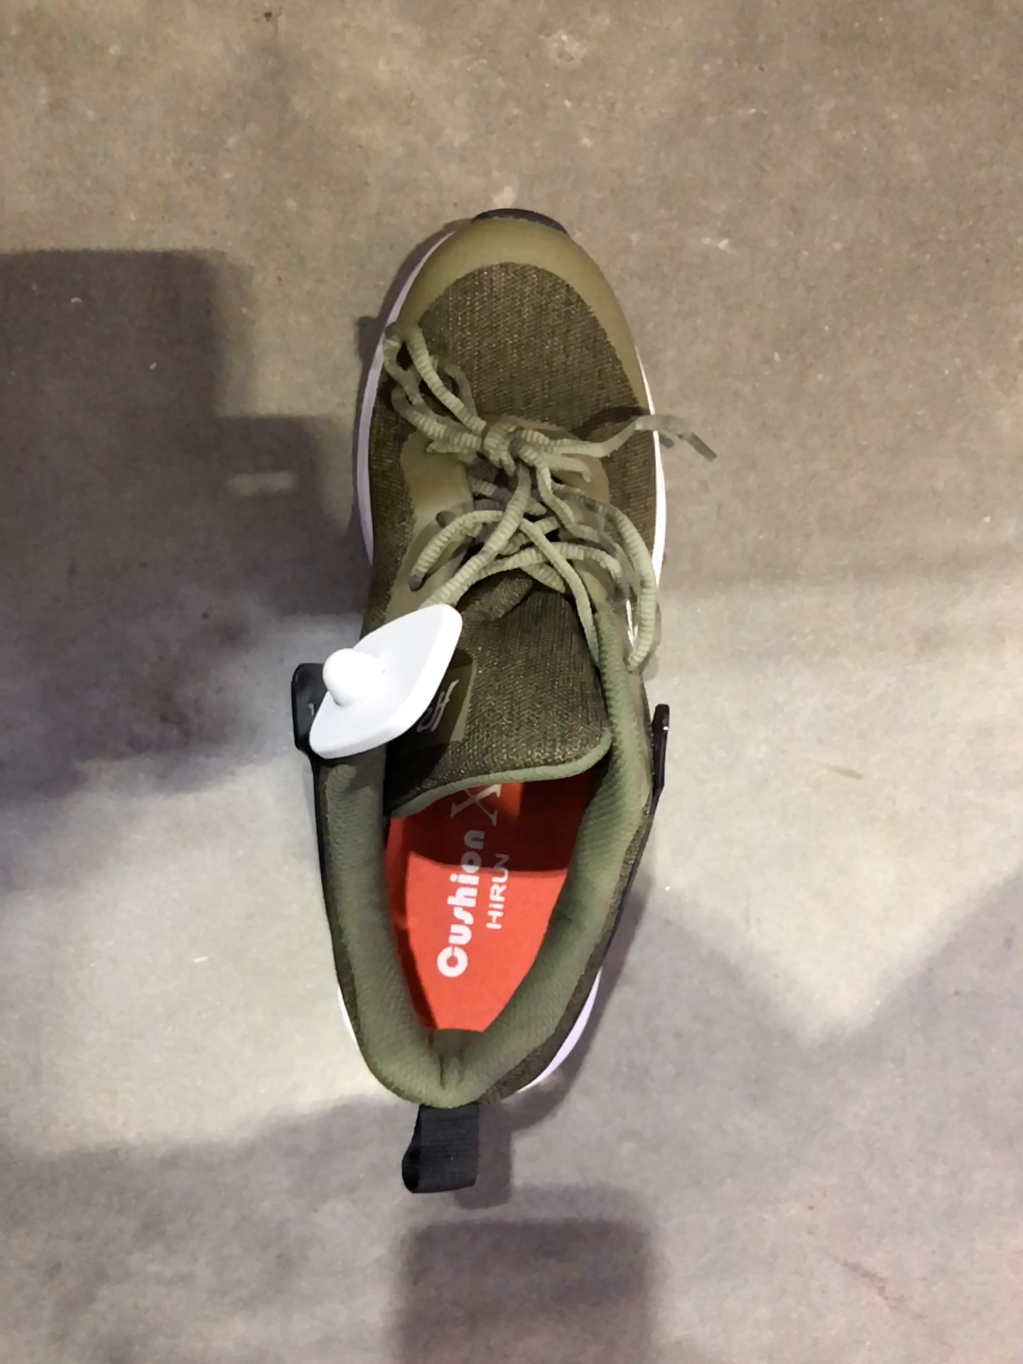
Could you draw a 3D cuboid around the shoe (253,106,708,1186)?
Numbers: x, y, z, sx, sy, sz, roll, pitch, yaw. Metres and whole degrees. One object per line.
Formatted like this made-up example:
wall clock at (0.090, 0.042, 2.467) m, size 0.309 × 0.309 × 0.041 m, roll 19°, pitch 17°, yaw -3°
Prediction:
shoe at (-0.011, -0.010, 0.360) m, size 0.120 × 0.100 × 0.290 m, roll 1°, pitch 85°, yaw -7°
